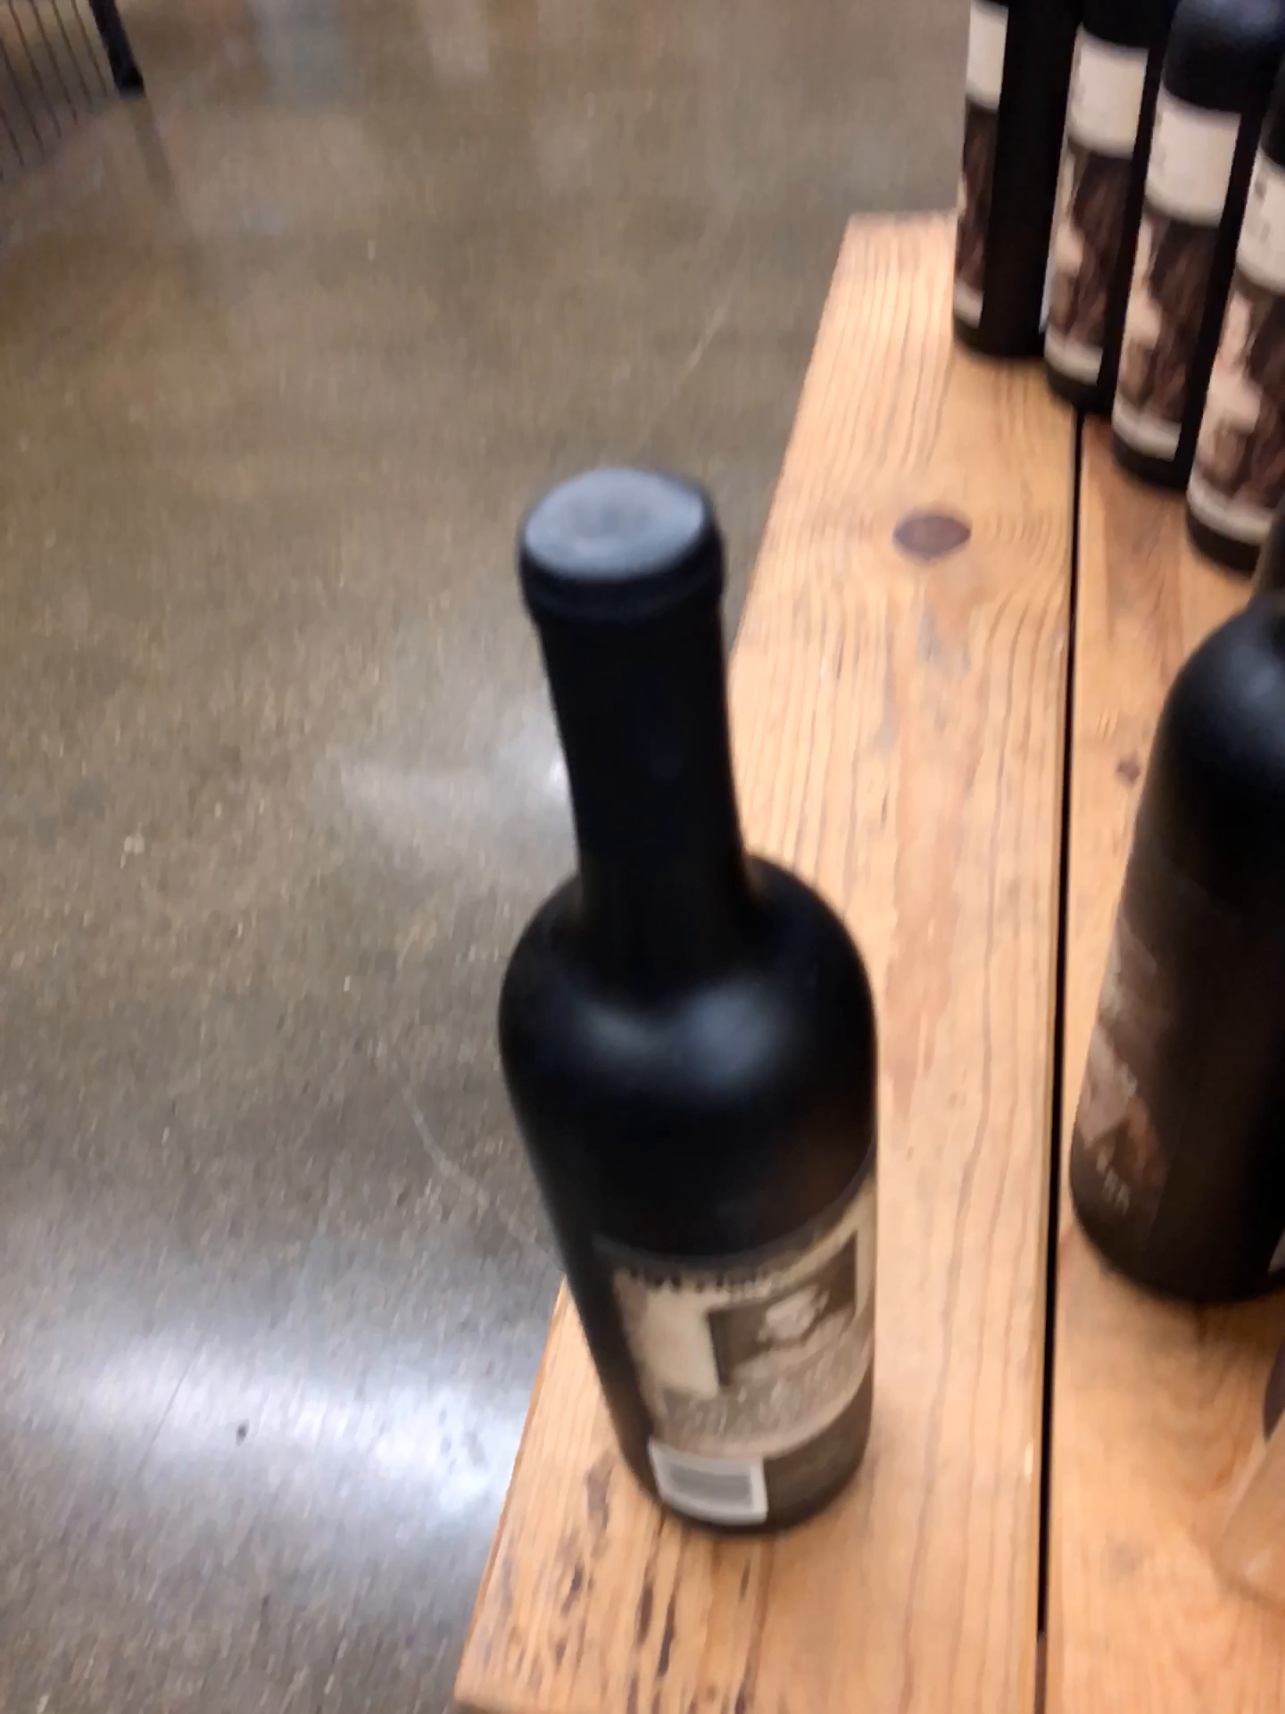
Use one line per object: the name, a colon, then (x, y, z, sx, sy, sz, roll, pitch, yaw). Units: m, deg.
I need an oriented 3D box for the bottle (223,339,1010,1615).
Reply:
bottle: (0.009, 0.059, 0.301, 0.080, 0.299, 0.080, -4, 47, 5)
